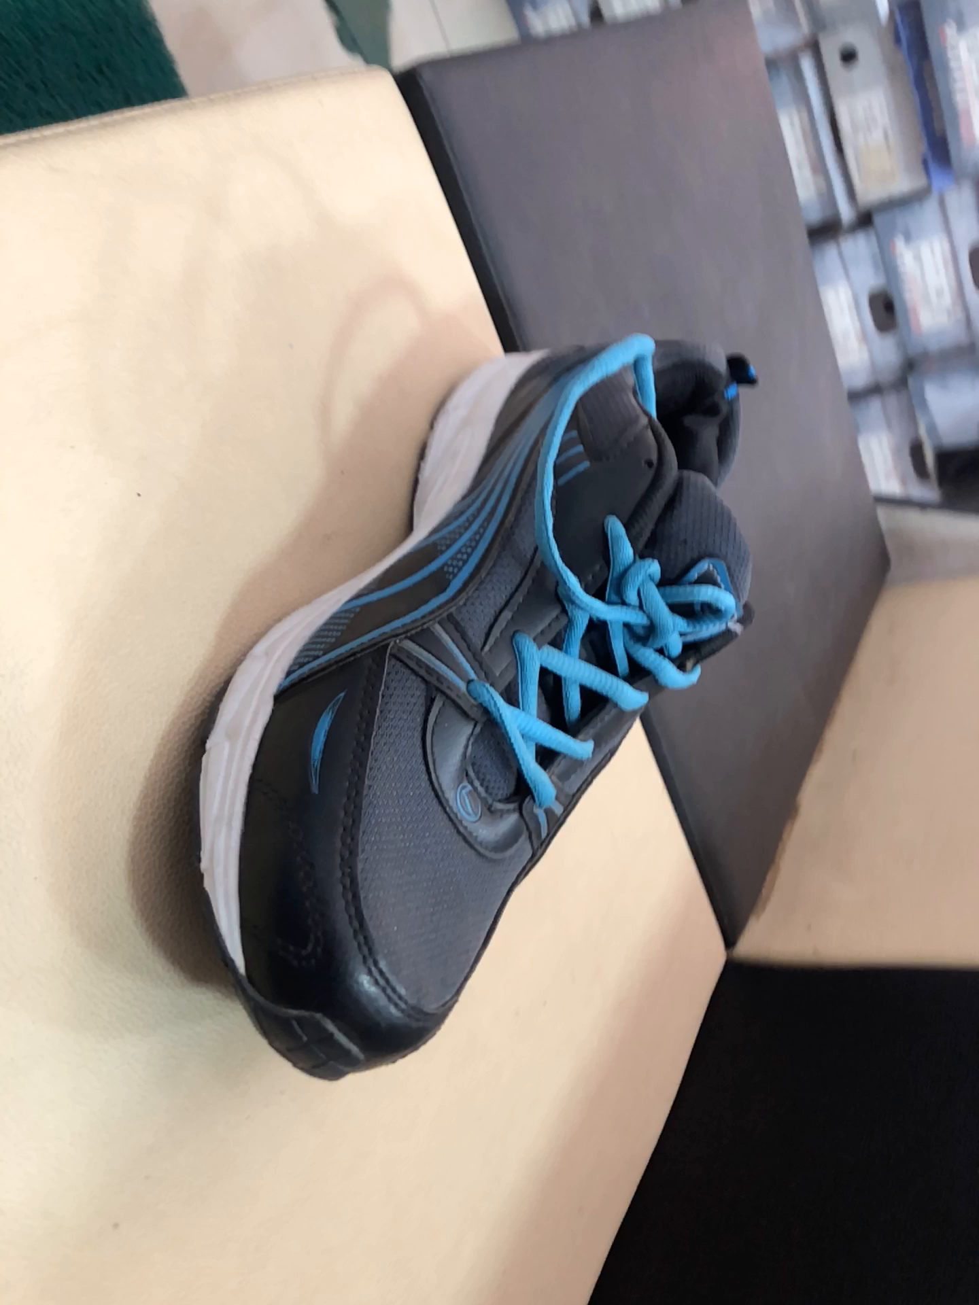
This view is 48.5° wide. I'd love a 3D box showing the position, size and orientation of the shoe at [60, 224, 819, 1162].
[{"bbox_3d":[0.014,-0.009,0.332,0.100,0.099,0.271,58,42,-32],"label":"shoe"}]
